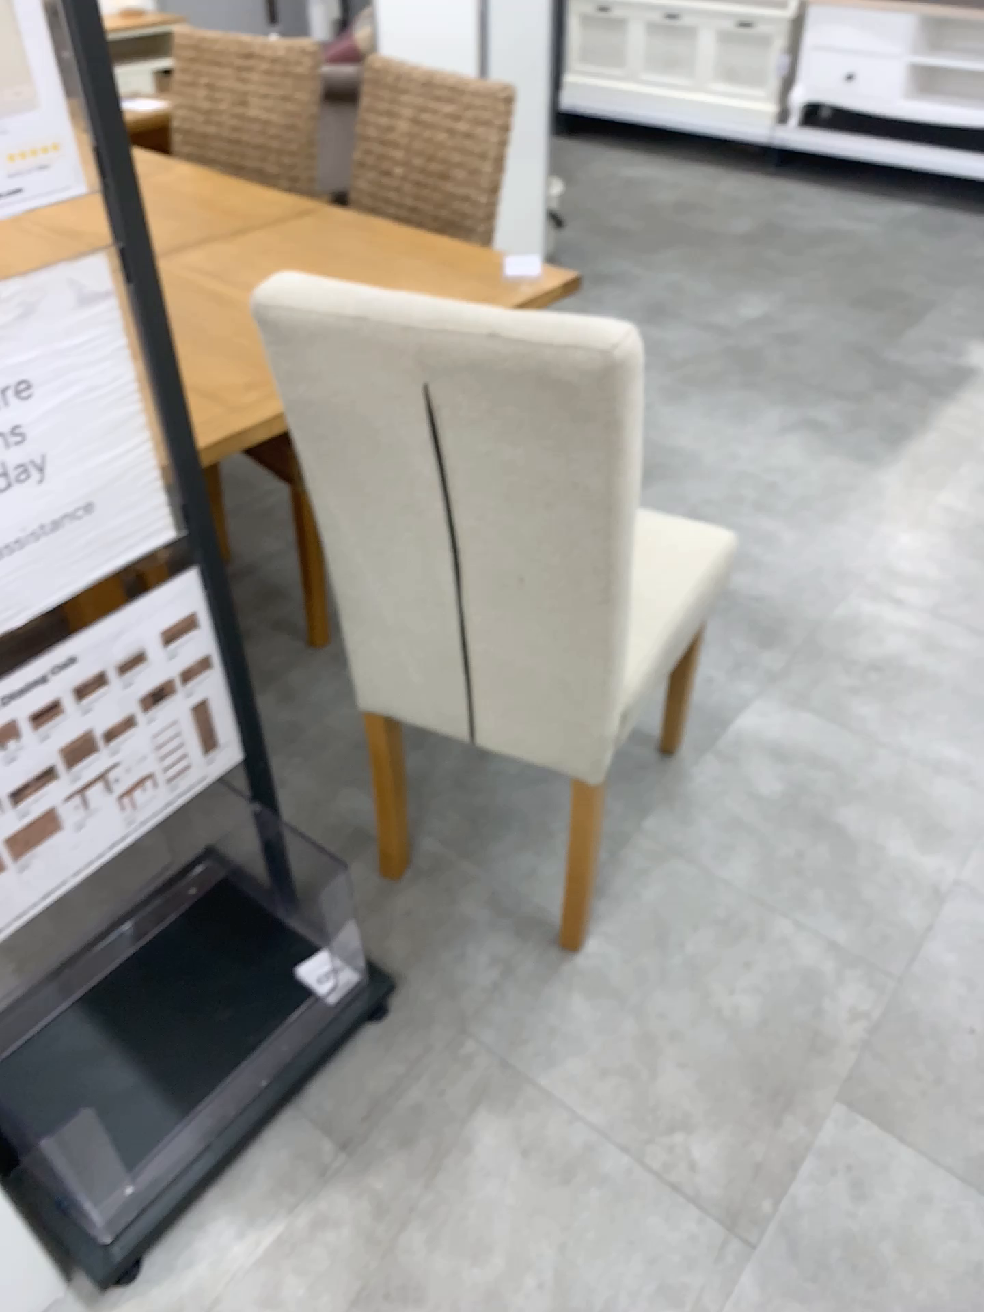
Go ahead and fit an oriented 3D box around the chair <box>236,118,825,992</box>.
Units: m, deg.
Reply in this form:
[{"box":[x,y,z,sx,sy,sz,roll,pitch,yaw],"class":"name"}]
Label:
[{"box":[0.091,-0.132,1.325,0.421,0.872,0.615,14,42,17],"class":"chair"}]
